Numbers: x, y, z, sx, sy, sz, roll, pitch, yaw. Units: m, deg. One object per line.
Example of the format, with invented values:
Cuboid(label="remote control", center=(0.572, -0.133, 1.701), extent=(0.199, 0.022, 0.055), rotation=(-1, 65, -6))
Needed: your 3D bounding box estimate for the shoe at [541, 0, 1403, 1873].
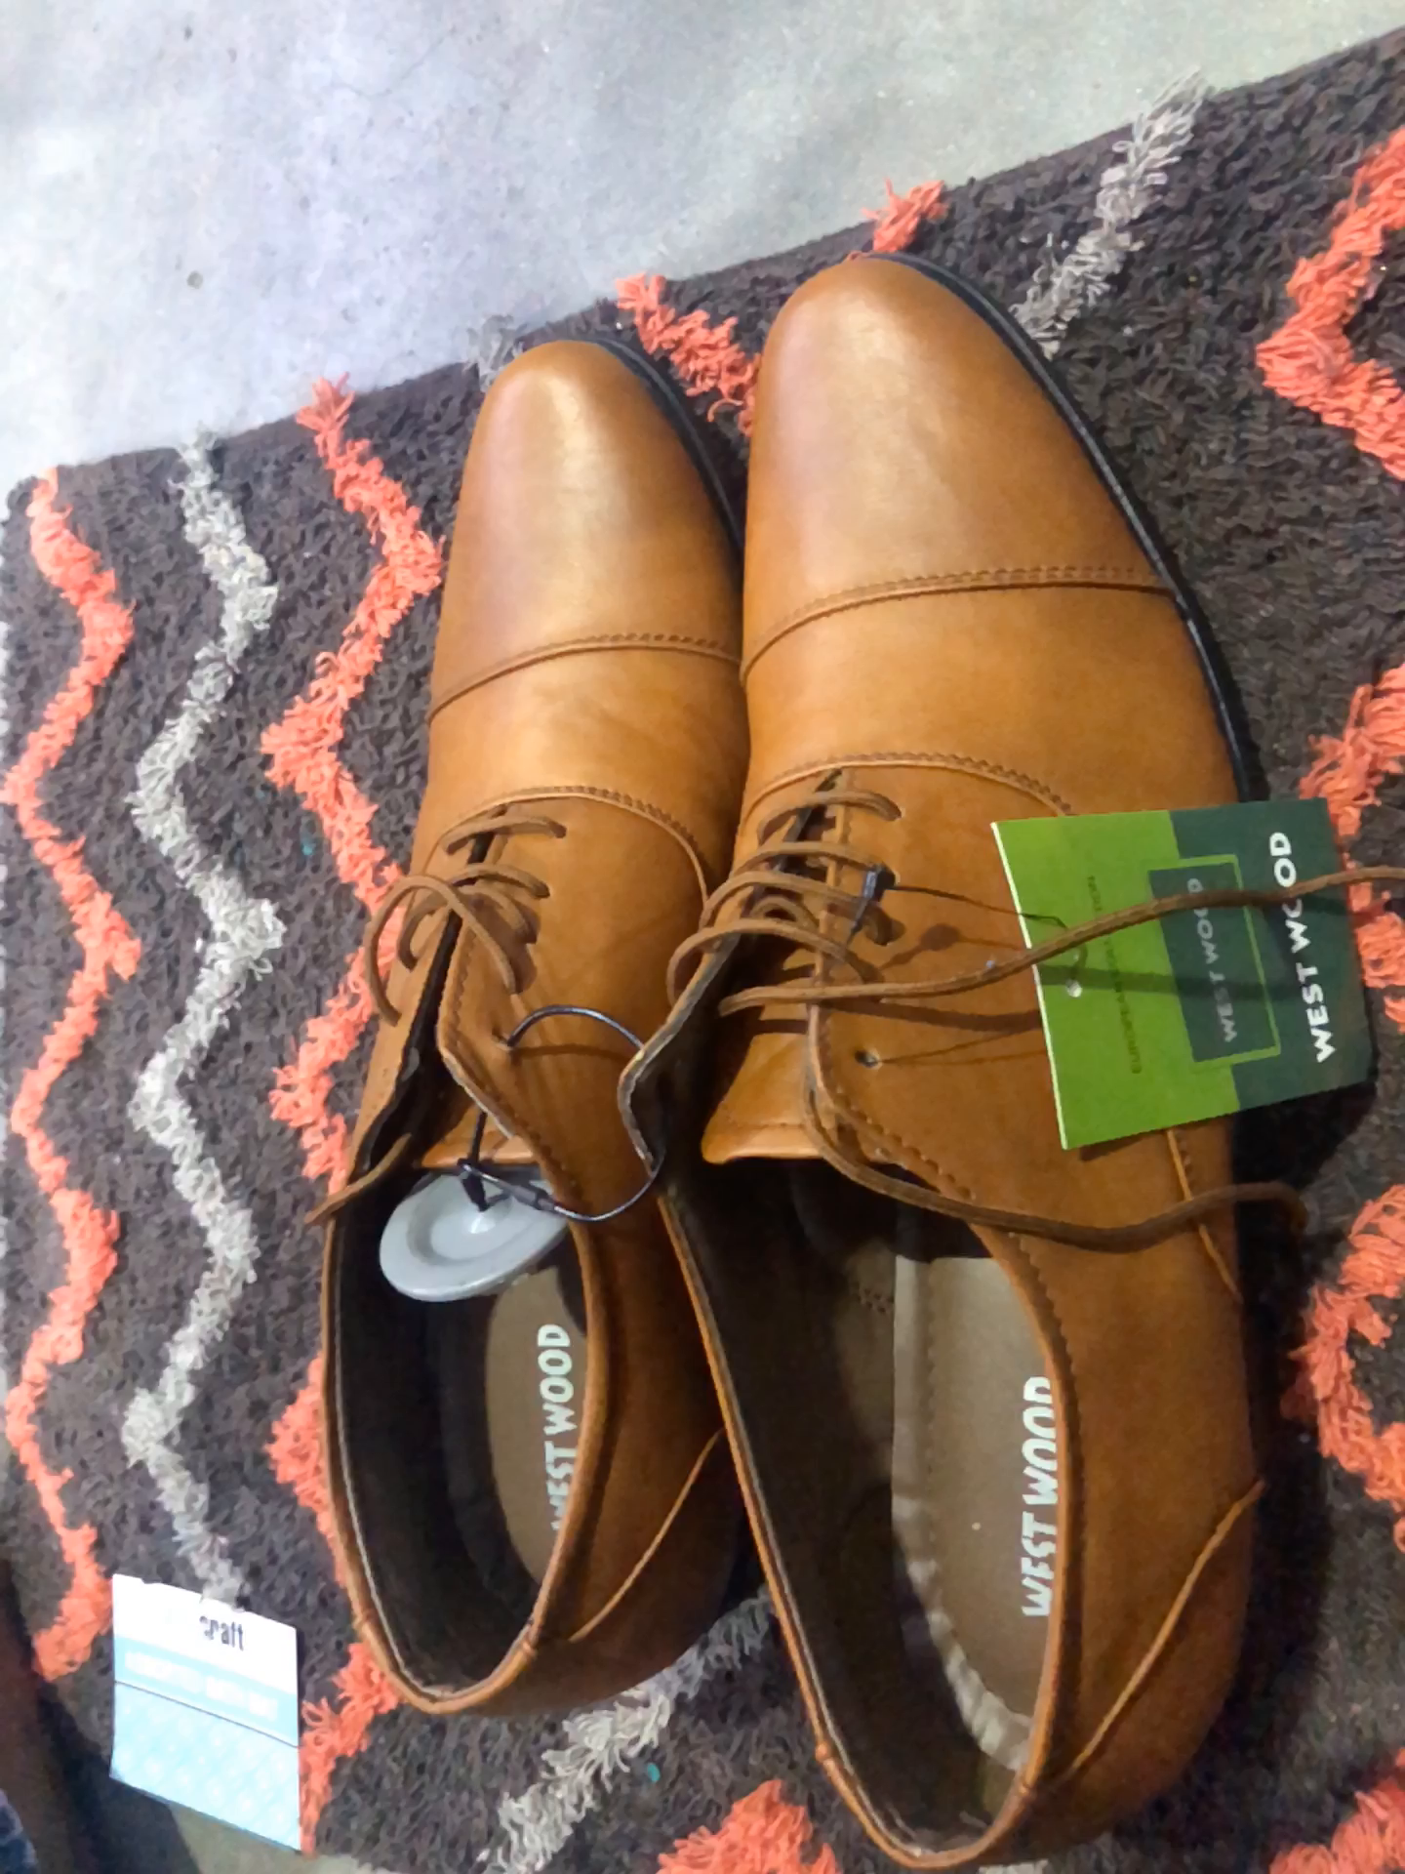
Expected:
Cuboid(label="shoe", center=(0.048, -0.001, 0.294), extent=(0.110, 0.080, 0.300), rotation=(-8, 83, 31))

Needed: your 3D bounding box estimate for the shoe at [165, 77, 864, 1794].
Cuboid(label="shoe", center=(-0.044, -0.001, 0.337), extent=(0.110, 0.070, 0.310), rotation=(-8, 83, 31))
